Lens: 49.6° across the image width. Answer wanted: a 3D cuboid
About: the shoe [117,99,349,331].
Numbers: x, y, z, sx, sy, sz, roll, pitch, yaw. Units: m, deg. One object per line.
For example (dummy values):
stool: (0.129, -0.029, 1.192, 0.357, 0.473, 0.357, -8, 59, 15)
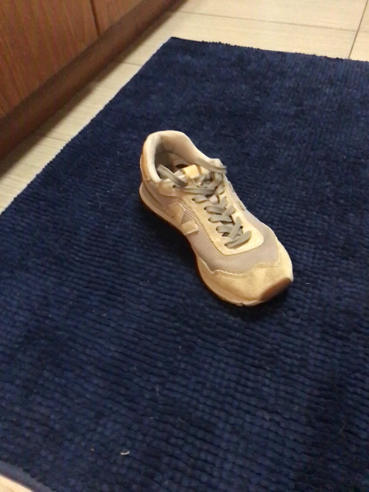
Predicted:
shoe: (0.039, -0.057, 0.494, 0.130, 0.099, 0.281, -24, 51, -17)
